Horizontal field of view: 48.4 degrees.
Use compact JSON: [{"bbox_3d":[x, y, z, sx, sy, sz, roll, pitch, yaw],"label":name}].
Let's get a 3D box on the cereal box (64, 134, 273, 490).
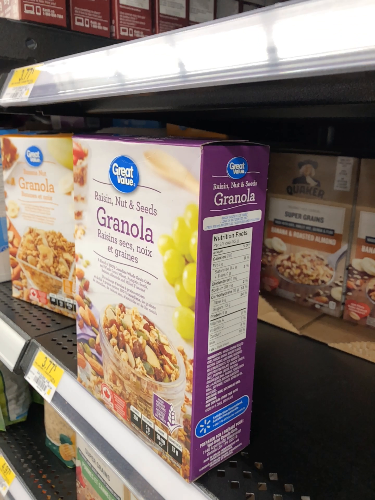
[{"bbox_3d":[-0.026,0.027,0.320,0.060,0.219,0.160,-10,18,-41],"label":"cereal box"}]
